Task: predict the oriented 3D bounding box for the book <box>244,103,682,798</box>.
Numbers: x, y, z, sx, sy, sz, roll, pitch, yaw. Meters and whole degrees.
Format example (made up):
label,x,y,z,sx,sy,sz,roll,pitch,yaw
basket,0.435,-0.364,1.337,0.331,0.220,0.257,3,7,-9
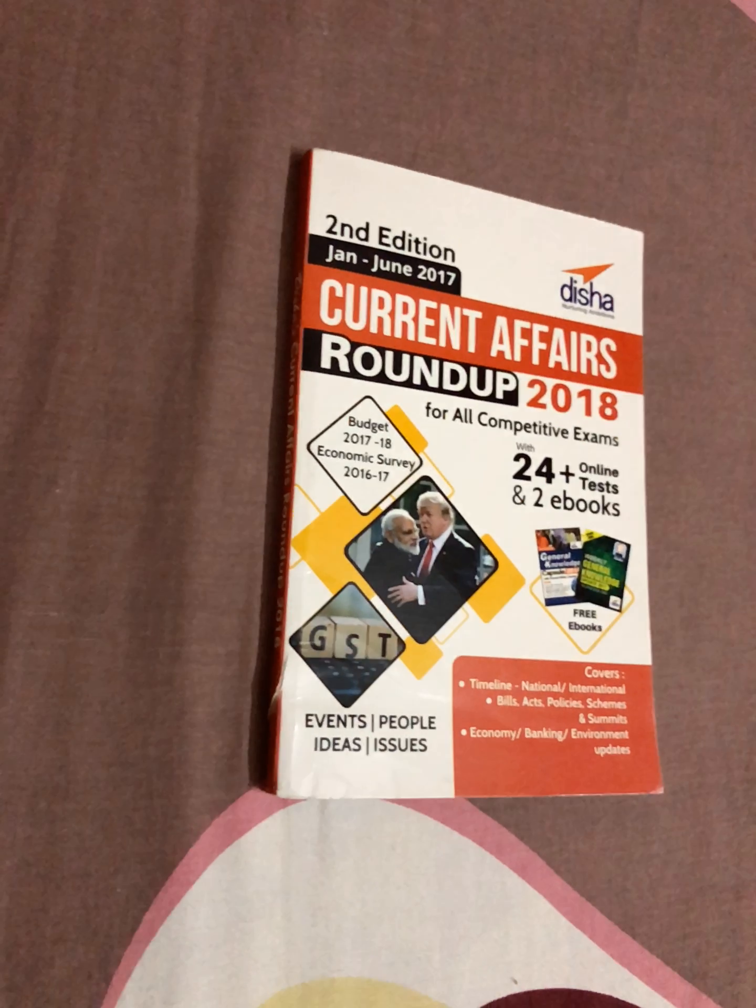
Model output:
label,x,y,z,sx,sy,sz,roll,pitch,yaw
book,0.033,-0.015,0.300,0.140,0.040,0.220,6,77,-20
